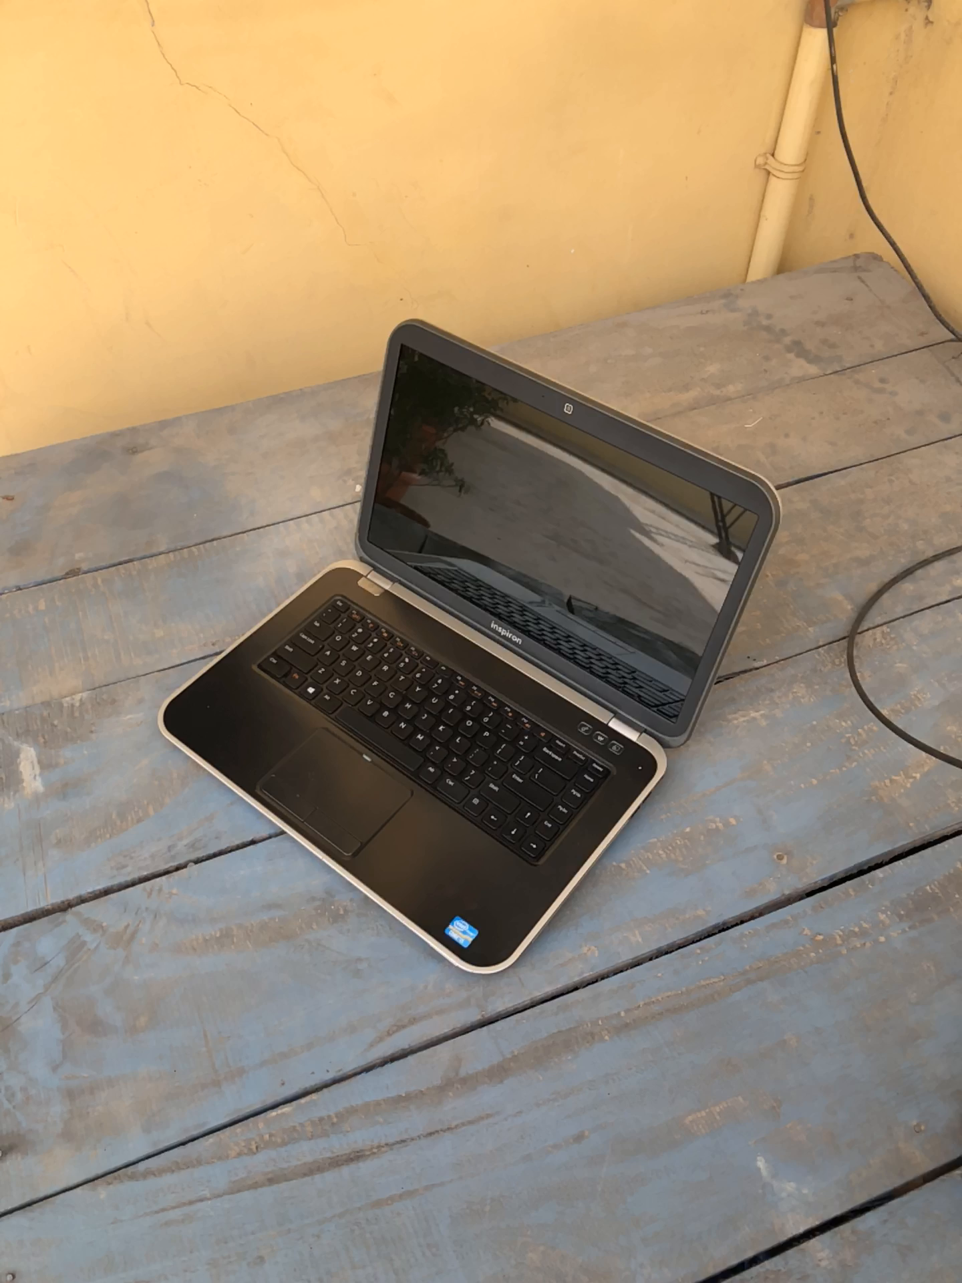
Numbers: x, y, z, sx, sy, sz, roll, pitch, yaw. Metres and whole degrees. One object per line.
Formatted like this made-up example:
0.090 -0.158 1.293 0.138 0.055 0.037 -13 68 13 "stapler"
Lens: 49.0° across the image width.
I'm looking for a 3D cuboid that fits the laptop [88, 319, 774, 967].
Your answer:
-0.033 -0.024 0.819 0.353 0.209 0.333 31 57 26 "laptop"
